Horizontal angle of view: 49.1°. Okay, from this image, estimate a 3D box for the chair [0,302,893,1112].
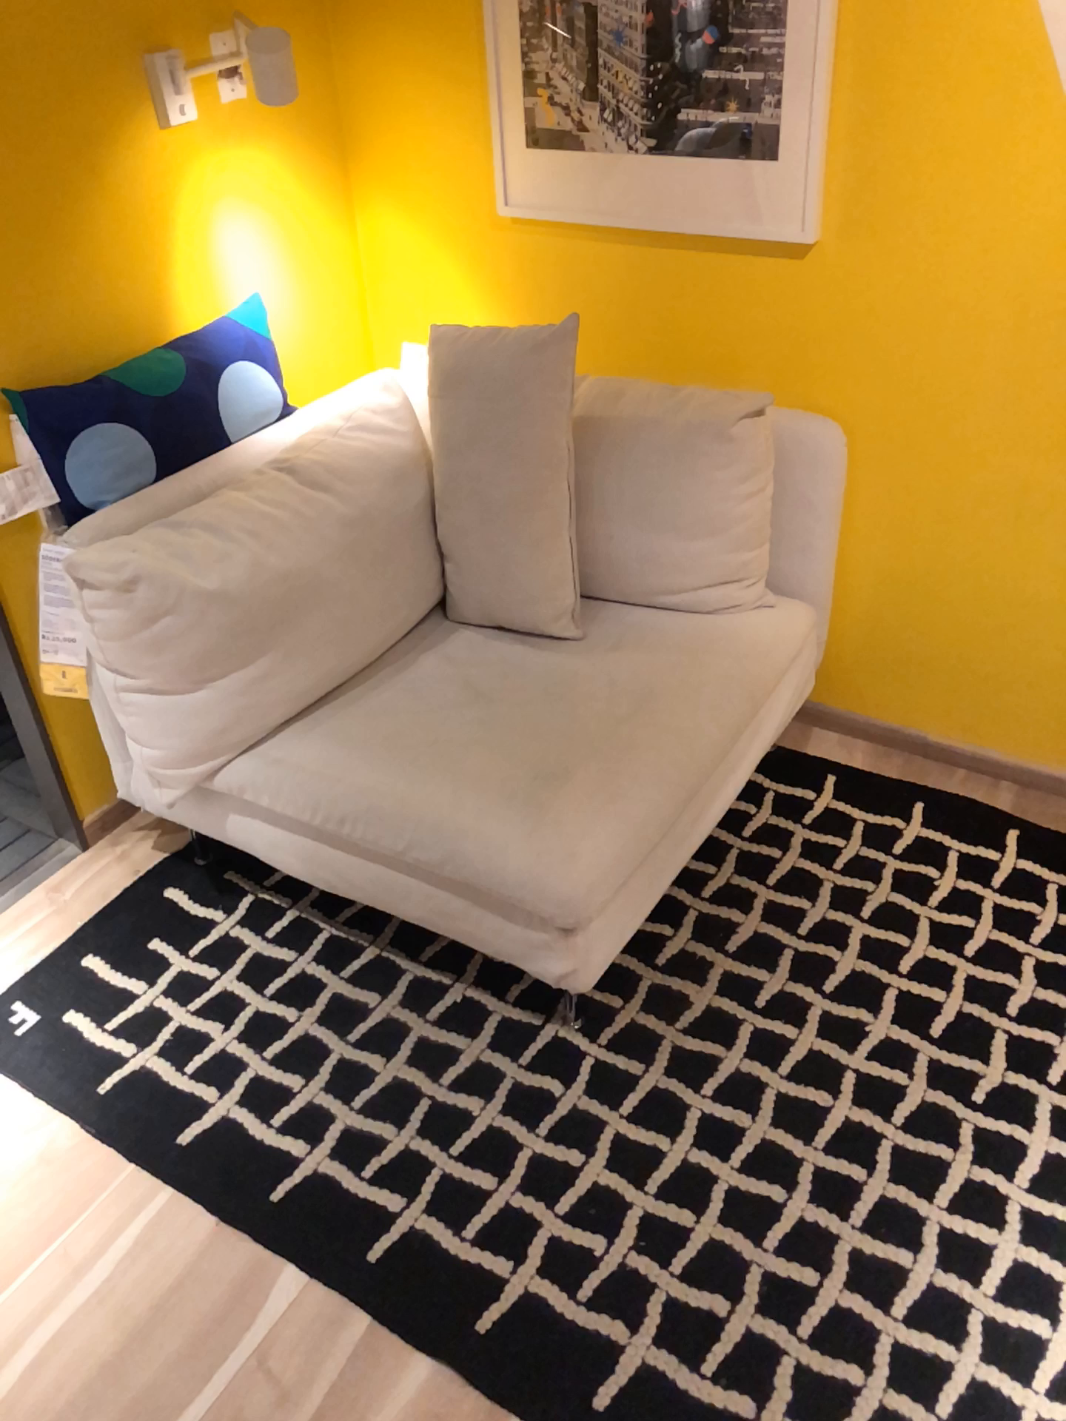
[{"bbox_3d":[-0.074,-0.145,2.094,1.012,0.755,1.115,17,40,28],"label":"chair"}]
